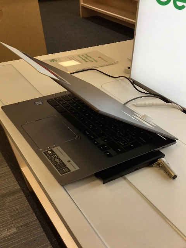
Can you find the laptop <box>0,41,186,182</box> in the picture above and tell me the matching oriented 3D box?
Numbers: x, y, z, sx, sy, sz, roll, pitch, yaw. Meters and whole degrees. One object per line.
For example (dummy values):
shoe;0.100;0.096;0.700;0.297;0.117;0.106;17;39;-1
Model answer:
laptop;-0.025;-0.054;0.514;0.255;0.147;0.296;-20;41;-23
